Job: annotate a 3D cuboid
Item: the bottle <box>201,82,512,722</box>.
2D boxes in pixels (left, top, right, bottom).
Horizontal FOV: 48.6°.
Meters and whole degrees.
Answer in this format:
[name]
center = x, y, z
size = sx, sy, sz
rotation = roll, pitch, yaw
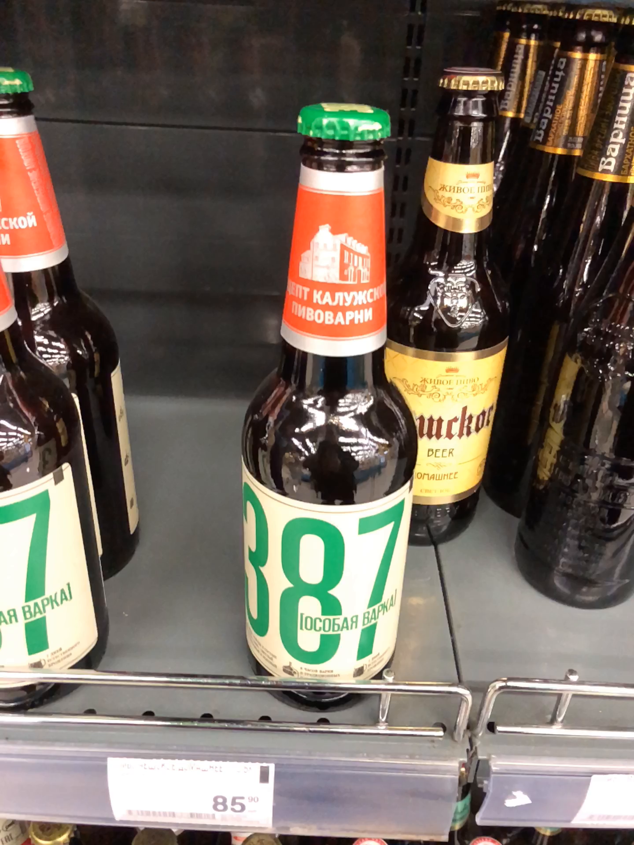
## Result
[bottle]
center = 0.011, 0.003, 0.267
size = 0.080, 0.229, 0.070
rotation = 7, 31, 8
